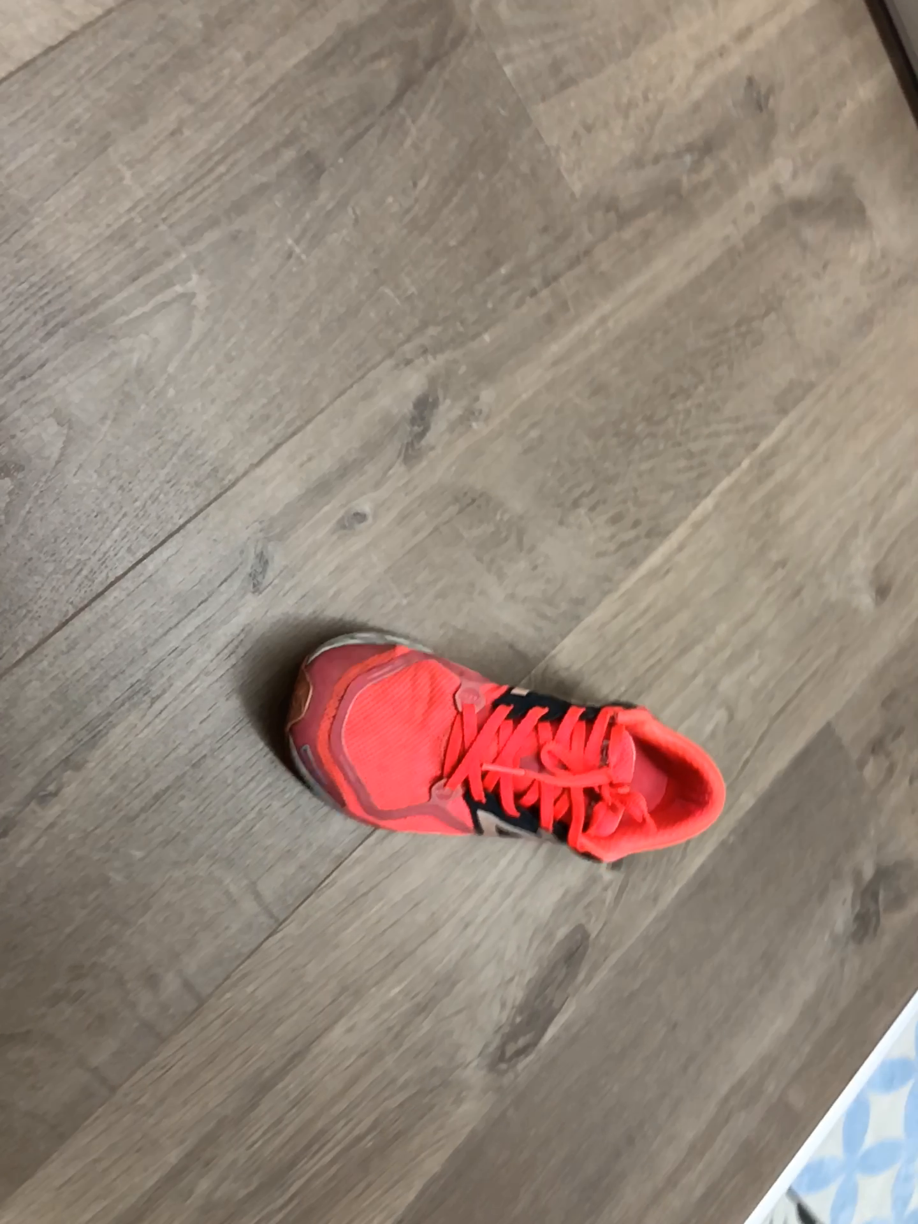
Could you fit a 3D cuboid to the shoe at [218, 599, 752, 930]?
[{"bbox_3d":[0.016,0.081,0.532,0.241,0.110,0.100,19,88,-28],"label":"shoe"}]
